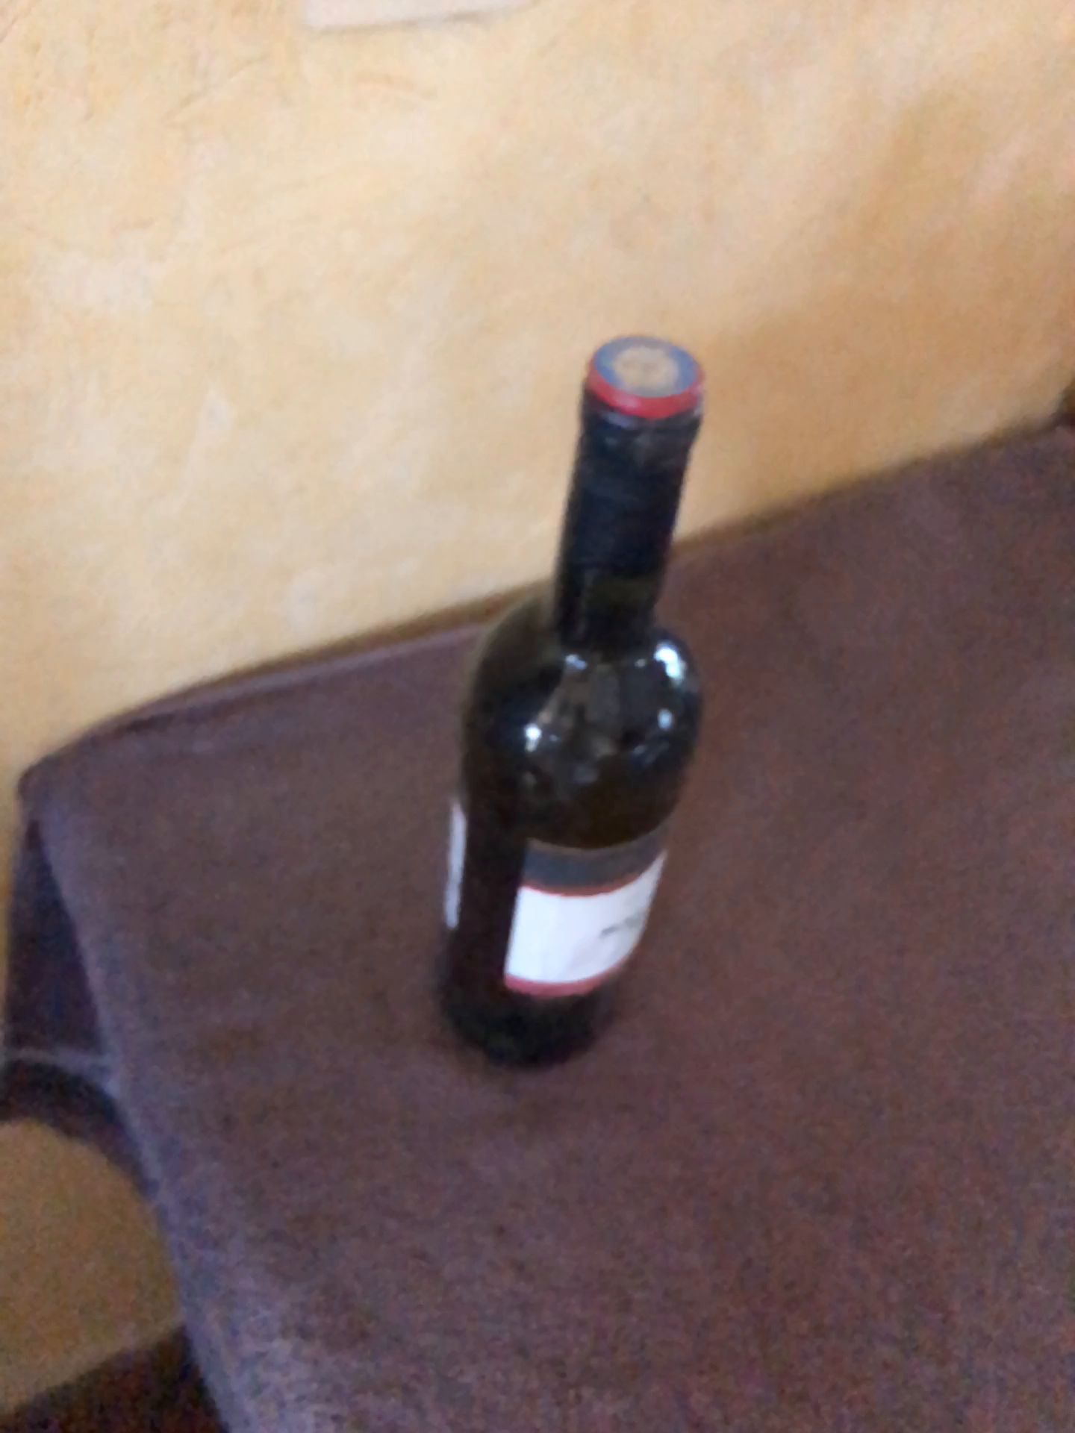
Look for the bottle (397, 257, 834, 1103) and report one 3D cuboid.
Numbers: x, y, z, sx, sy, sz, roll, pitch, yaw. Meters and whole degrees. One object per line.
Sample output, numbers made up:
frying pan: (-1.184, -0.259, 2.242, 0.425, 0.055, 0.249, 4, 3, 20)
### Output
bottle: (0.009, 0.015, 0.390, 0.080, 0.288, 0.081, 3, 50, -4)
